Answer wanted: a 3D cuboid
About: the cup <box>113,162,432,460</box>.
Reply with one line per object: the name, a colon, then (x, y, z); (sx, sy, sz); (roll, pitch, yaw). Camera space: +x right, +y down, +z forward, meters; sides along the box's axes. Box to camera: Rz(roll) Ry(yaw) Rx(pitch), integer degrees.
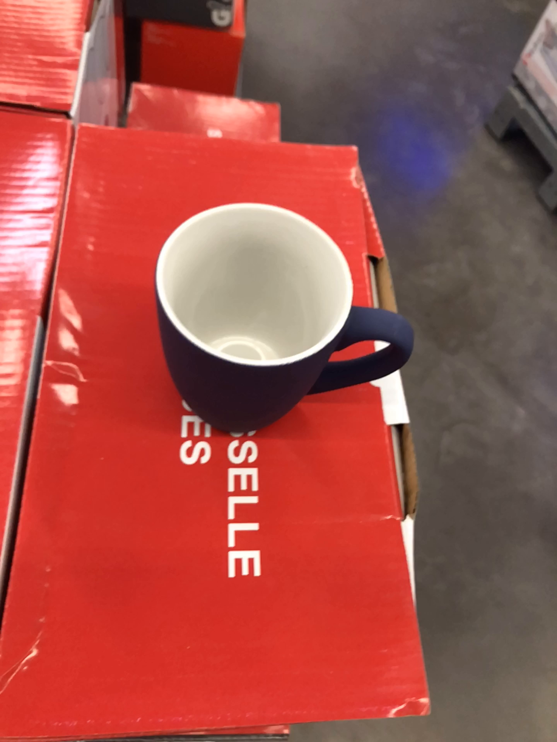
cup: (-0.002, -0.022, 0.292); (0.121, 0.088, 0.091); (8, 64, -4)
